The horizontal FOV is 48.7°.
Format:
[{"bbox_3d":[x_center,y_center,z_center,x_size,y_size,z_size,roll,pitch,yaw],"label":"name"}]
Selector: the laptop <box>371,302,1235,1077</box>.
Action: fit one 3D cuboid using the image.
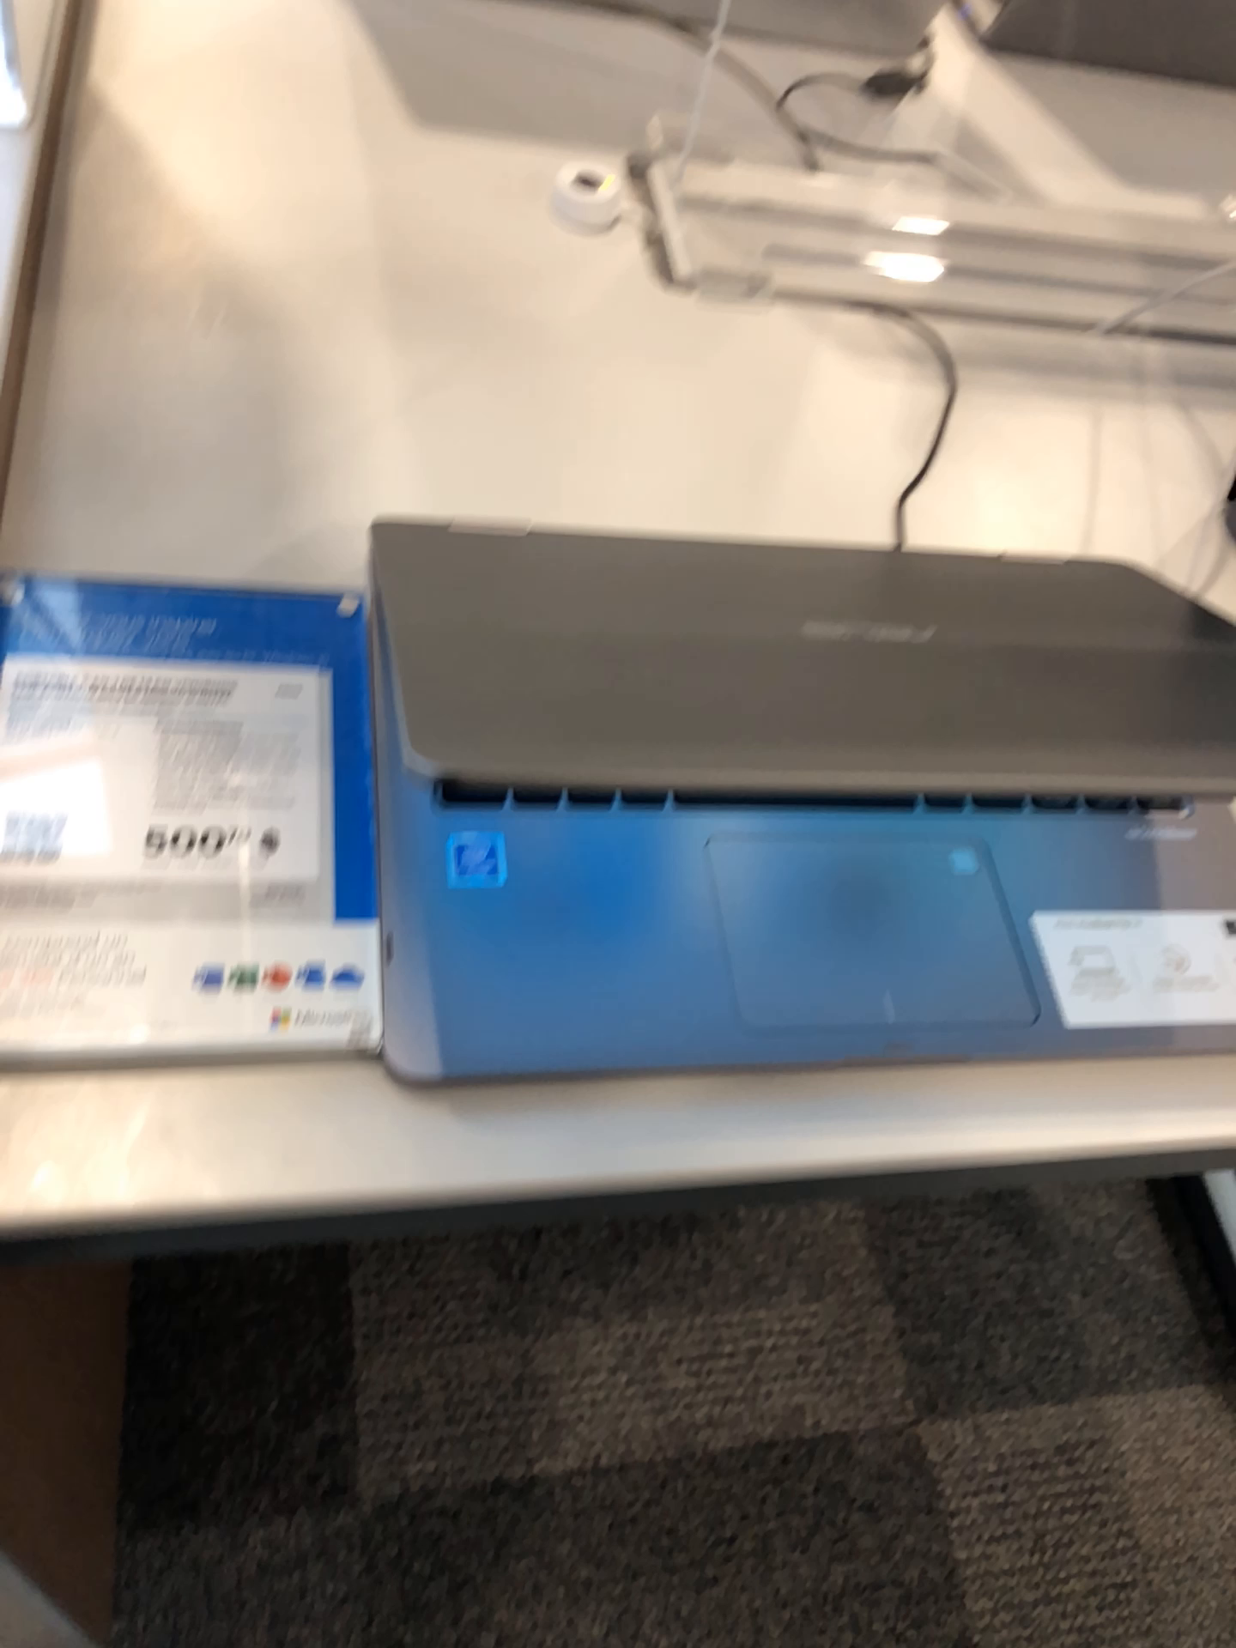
[{"bbox_3d":[0.089,-0.044,0.446,0.321,0.105,0.215,1,55,-13],"label":"laptop"}]
